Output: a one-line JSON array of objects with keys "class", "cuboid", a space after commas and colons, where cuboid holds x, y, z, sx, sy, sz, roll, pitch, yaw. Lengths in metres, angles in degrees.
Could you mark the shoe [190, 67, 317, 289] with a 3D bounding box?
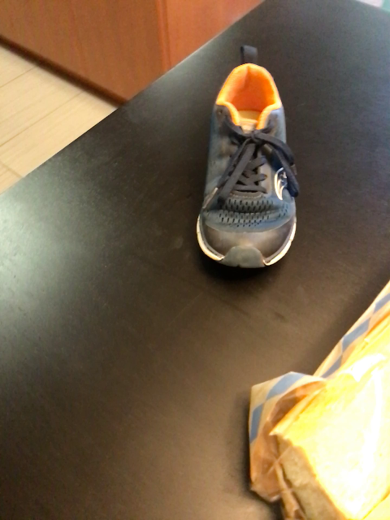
[{"class": "shoe", "cuboid": [0.047, -0.076, 0.362, 0.084, 0.072, 0.187, 3, 56, 4]}]
